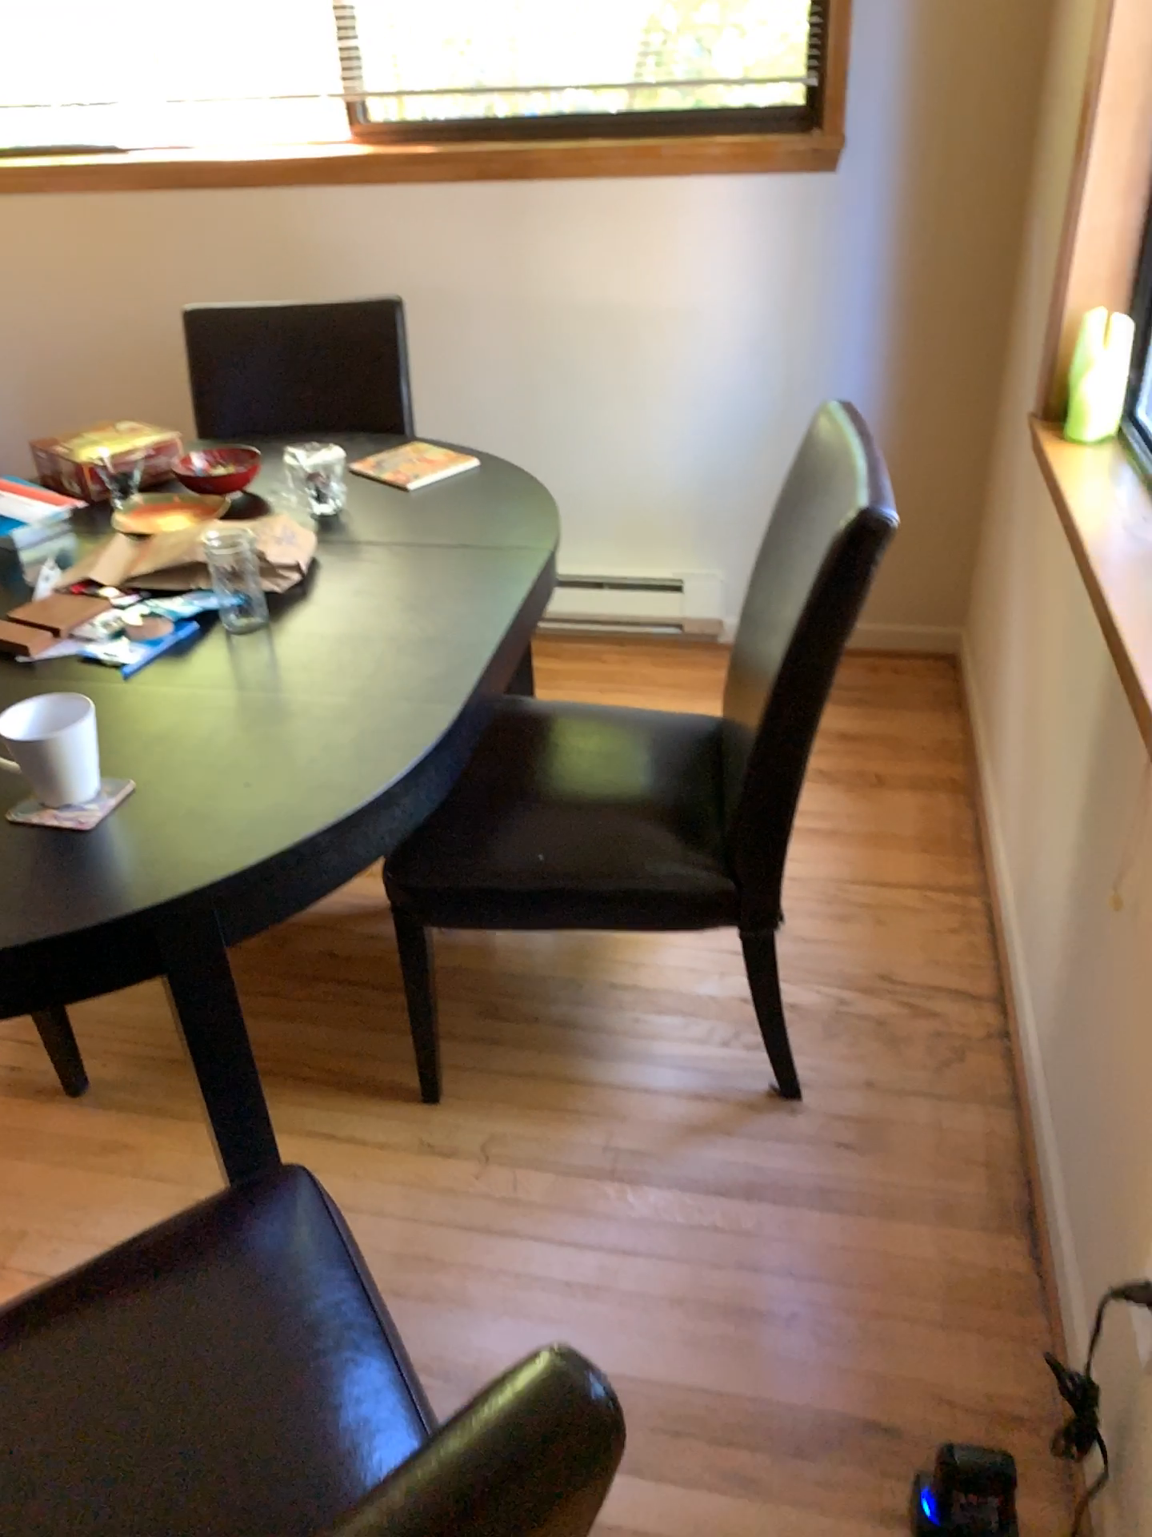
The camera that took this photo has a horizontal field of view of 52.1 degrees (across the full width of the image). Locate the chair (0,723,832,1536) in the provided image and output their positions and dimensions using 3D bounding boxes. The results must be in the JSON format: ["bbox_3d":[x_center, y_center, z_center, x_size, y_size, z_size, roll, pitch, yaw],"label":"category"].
[{"bbox_3d":[-0.305,0.663,0.880,0.620,1.083,0.654,-22,37,-27],"label":"chair"}]
